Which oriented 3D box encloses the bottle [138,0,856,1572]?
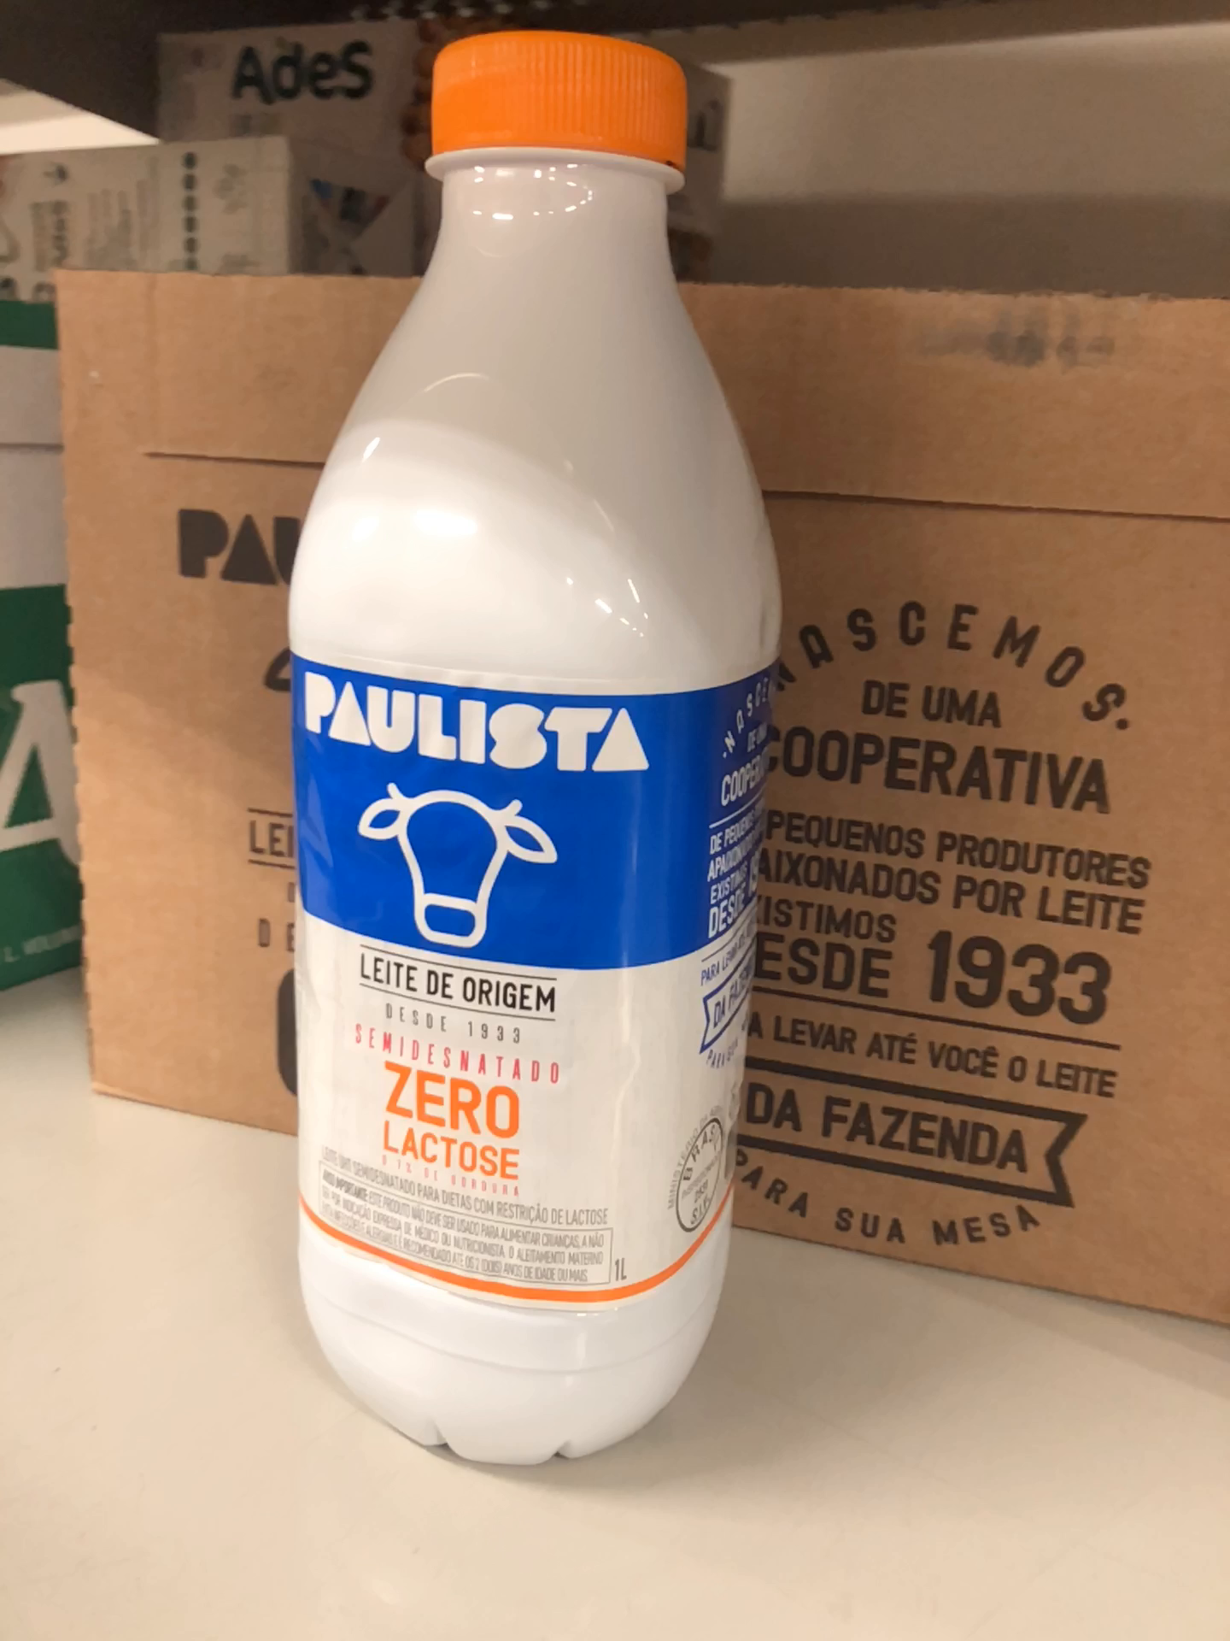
[{"bbox_3d":[-0.016,-0.008,0.235,0.080,0.229,0.080,2,15,-1],"label":"bottle"}]
